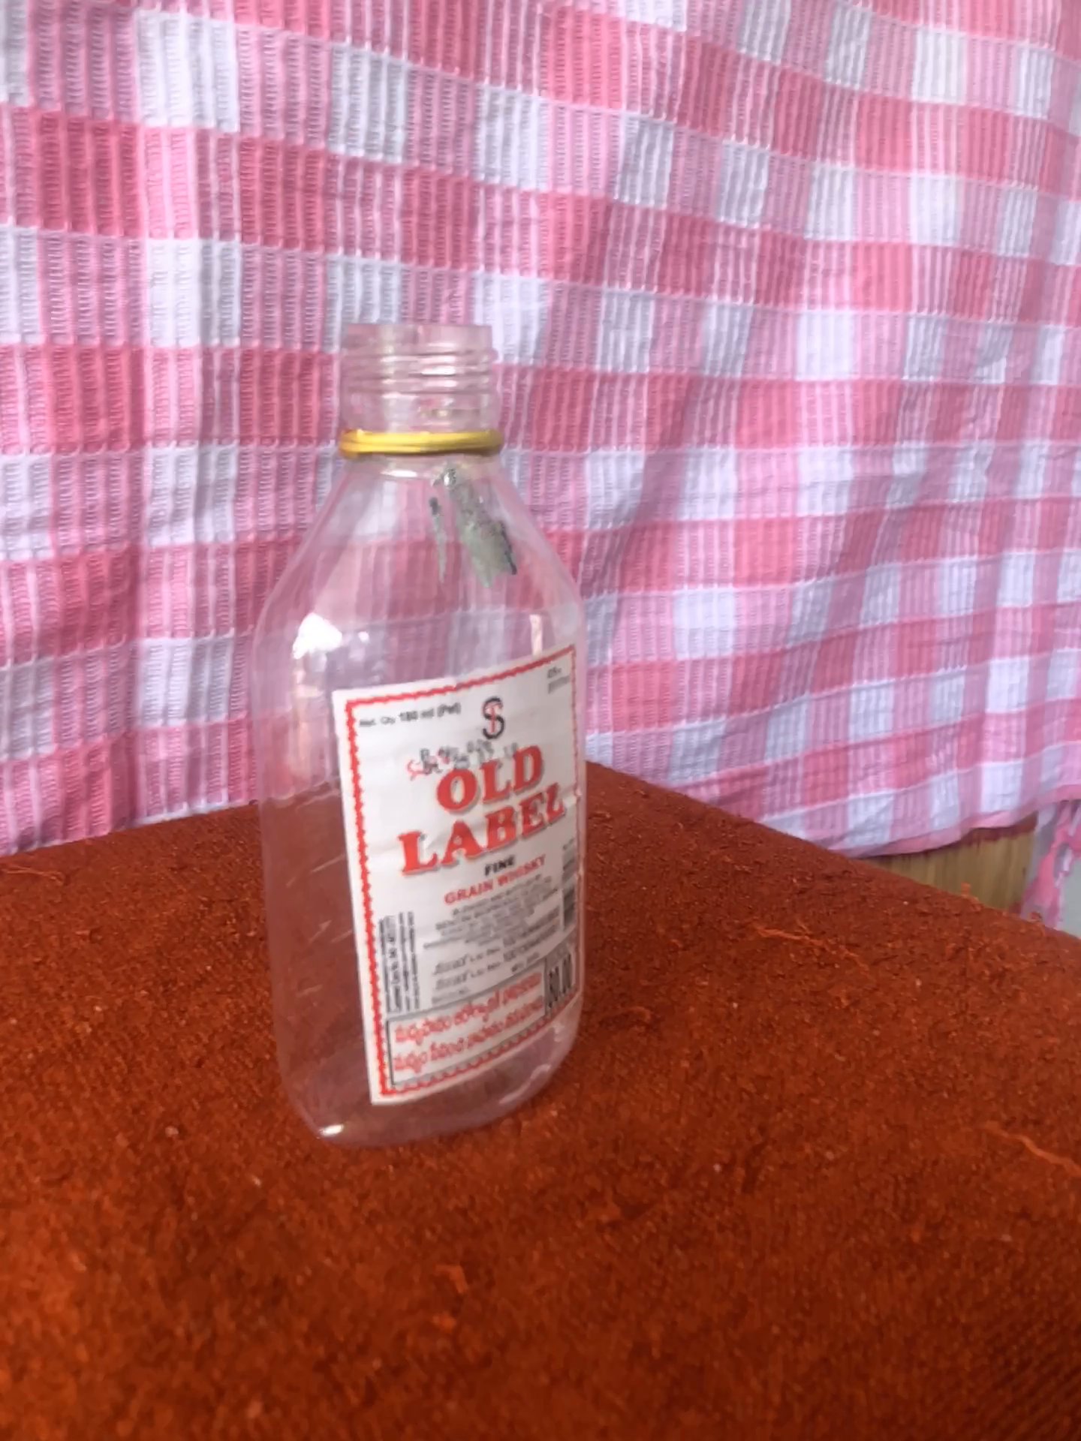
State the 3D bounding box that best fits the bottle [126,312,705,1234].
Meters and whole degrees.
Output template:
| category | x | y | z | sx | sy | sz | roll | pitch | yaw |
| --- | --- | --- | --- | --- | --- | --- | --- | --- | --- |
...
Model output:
| category | x | y | z | sx | sy | sz | roll | pitch | yaw |
| --- | --- | --- | --- | --- | --- | --- | --- | --- | --- |
| bottle | -0.021 | 0.003 | 0.199 | 0.070 | 0.129 | 0.050 | -11 | 23 | -37 |
